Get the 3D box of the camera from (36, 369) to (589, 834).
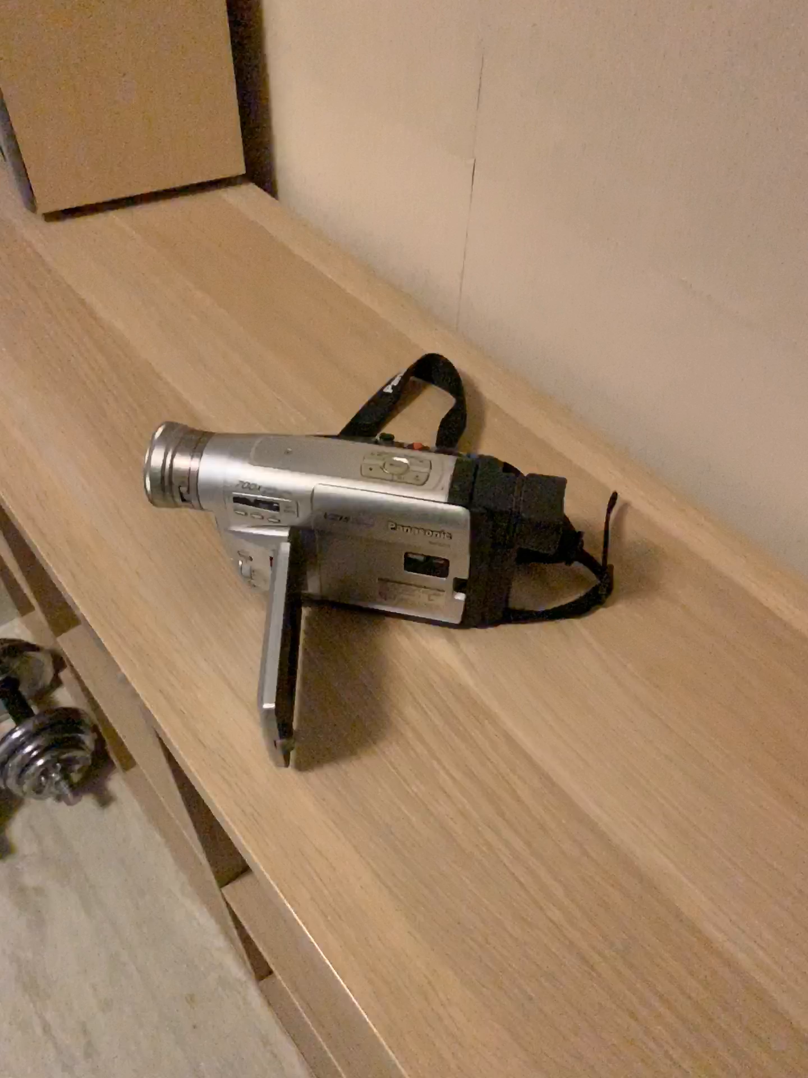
[{"bbox_3d":[-0.031,0.025,0.473,0.246,0.109,0.204,9,48,5],"label":"camera"}]
